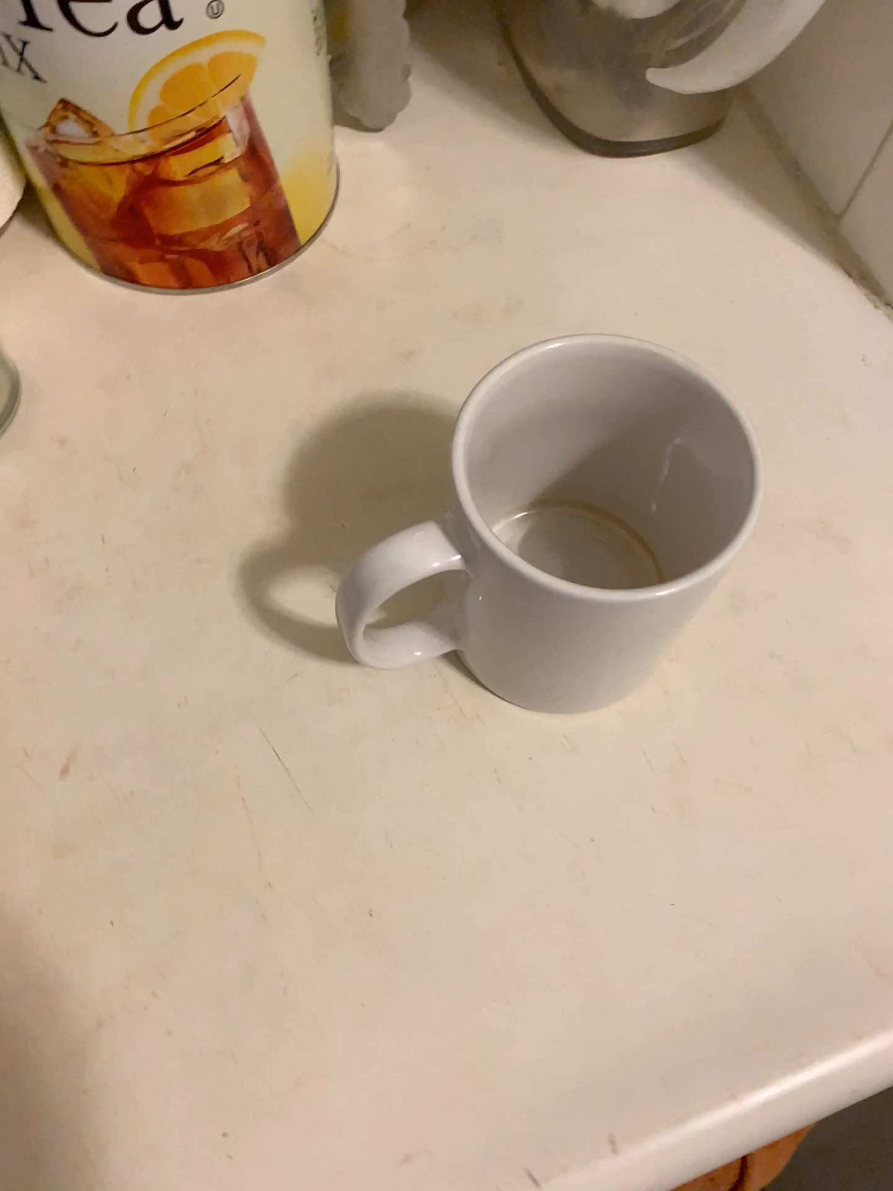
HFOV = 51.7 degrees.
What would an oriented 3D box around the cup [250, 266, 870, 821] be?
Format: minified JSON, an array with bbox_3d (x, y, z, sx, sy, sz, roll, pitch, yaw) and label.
[{"bbox_3d":[0.028,-0.012,0.296,0.140,0.110,0.090,-25,69,-14],"label":"cup"}]
